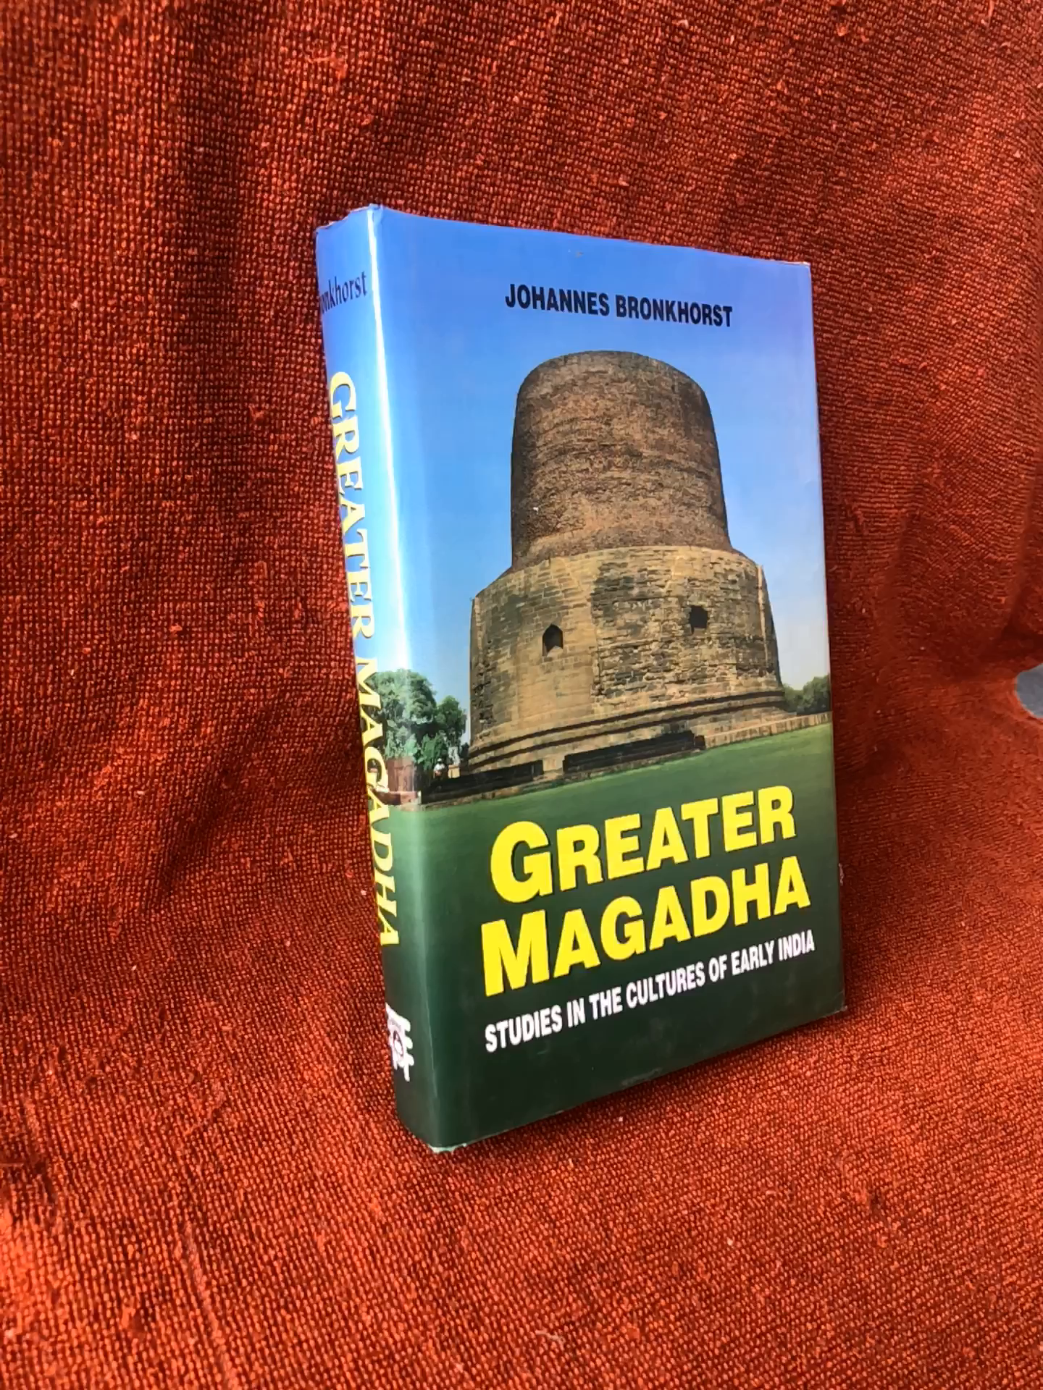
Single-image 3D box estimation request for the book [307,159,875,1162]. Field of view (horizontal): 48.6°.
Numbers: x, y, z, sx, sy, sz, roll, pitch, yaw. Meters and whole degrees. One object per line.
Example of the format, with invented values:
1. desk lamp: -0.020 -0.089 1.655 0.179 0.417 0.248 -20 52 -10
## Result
1. book: 0.027 -0.012 0.305 0.151 0.220 0.030 -6 6 -33
